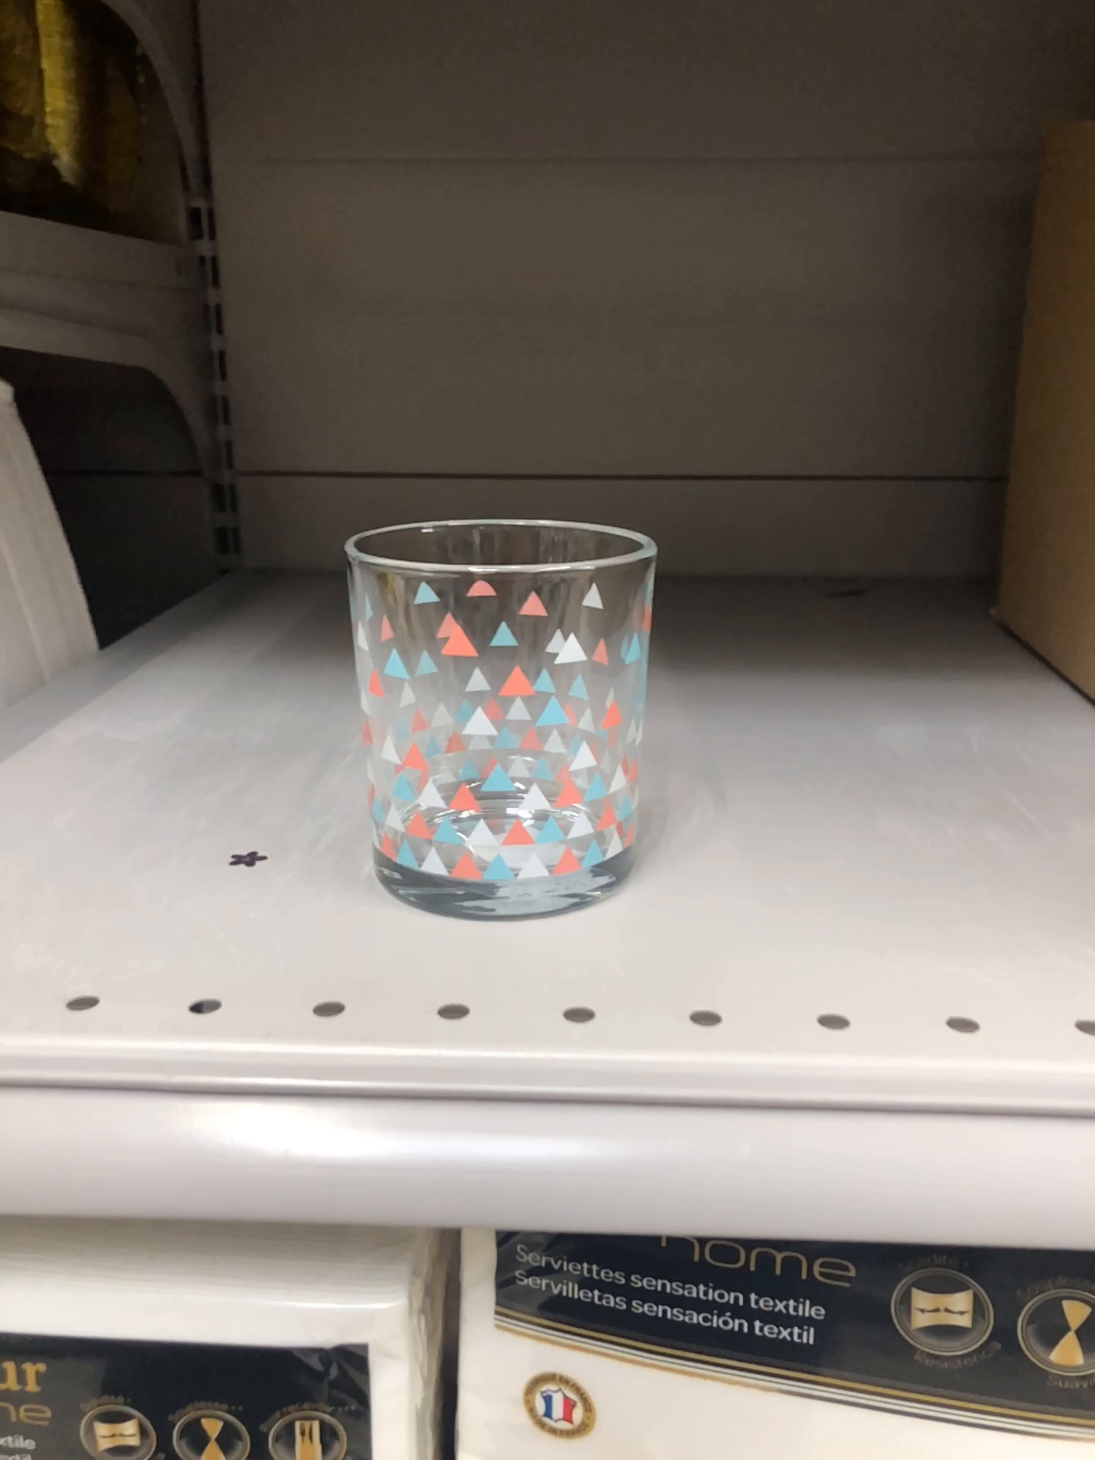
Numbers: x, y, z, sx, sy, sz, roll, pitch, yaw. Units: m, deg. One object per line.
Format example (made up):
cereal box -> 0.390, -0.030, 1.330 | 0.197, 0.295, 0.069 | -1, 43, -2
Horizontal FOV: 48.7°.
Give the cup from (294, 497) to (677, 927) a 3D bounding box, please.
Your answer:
cup -> -0.009, -0.009, 0.287 | 0.076, 0.081, 0.077 | 0, 17, 0
